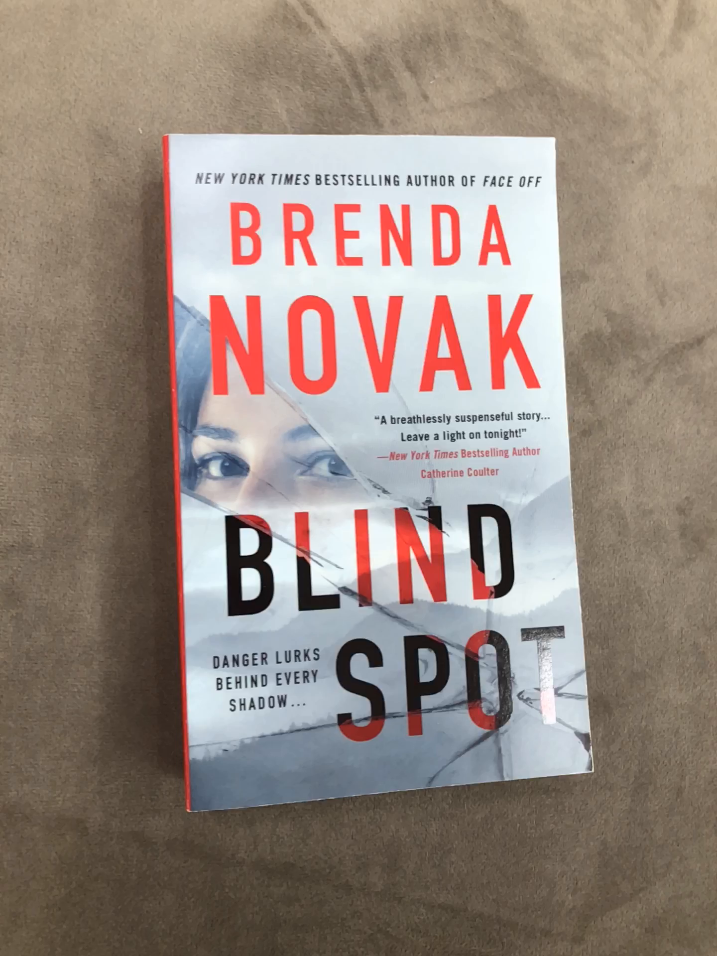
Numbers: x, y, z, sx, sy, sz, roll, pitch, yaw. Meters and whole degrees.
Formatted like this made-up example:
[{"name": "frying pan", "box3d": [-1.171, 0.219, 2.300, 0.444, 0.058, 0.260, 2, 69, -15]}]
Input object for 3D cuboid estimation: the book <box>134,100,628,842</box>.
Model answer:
[{"name": "book", "box3d": [0.004, -0.005, 0.235, 0.120, 0.050, 0.190, -3, 86, -4]}]
